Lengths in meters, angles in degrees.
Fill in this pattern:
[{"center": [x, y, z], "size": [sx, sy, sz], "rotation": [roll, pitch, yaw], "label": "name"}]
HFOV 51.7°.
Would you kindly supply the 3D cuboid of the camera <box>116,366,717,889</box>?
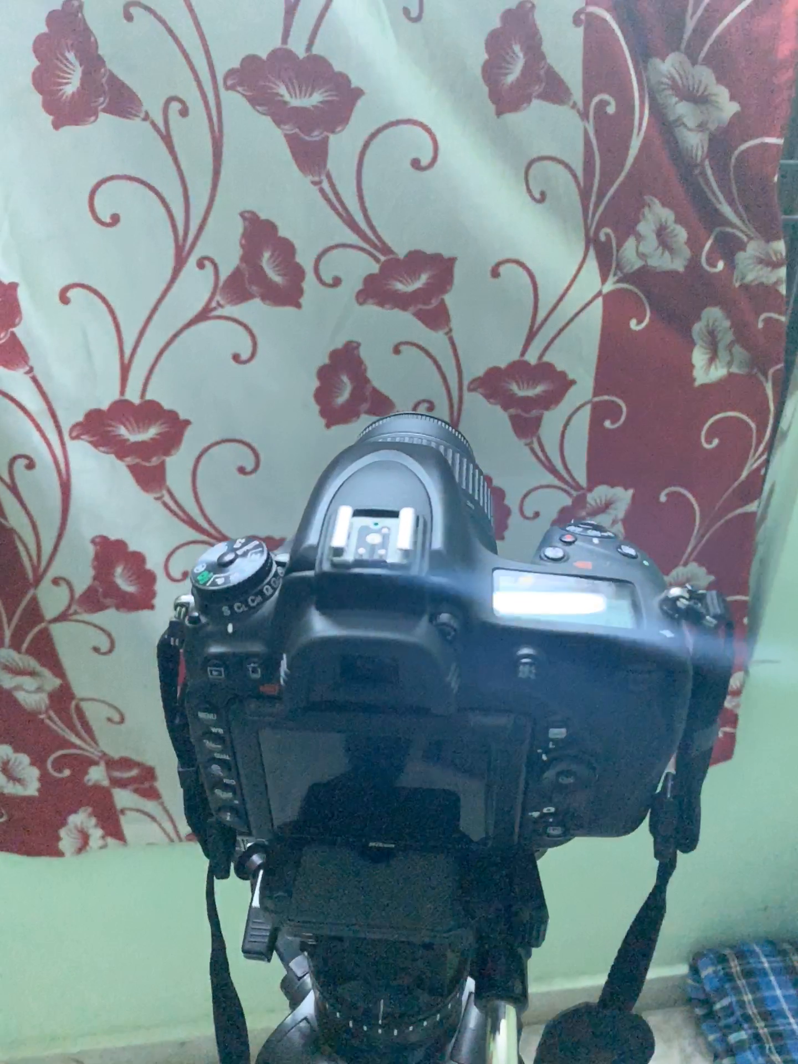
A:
[{"center": [0.006, 0.021, 0.274], "size": [0.139, 0.112, 0.130], "rotation": [2, 29, 3], "label": "camera"}]
